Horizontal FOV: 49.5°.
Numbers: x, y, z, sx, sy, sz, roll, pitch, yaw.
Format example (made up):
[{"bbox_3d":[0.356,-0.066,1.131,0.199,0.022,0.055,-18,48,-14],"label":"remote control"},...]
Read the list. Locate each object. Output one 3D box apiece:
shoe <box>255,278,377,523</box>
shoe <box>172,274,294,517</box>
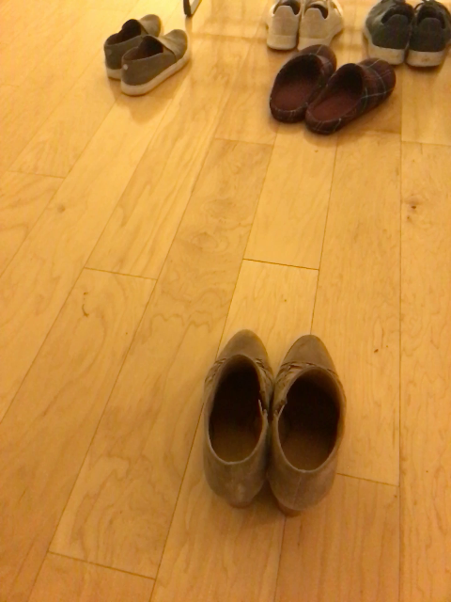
[{"bbox_3d":[0.103,0.108,0.578,0.110,0.109,0.252,5,52,5],"label":"shoe"},{"bbox_3d":[0.019,0.102,0.578,0.110,0.109,0.252,4,52,5],"label":"shoe"}]
